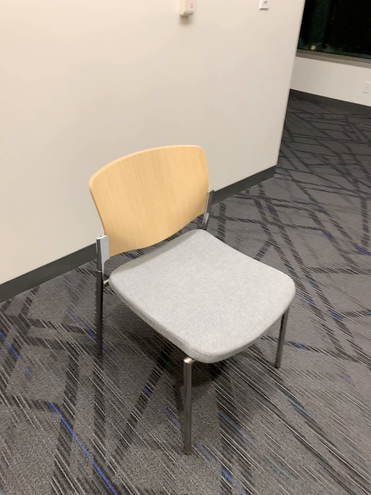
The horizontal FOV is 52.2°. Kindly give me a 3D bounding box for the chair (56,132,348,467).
[{"bbox_3d":[0.037,0.111,1.195,0.556,0.704,0.538,-29,45,-36],"label":"chair"}]
